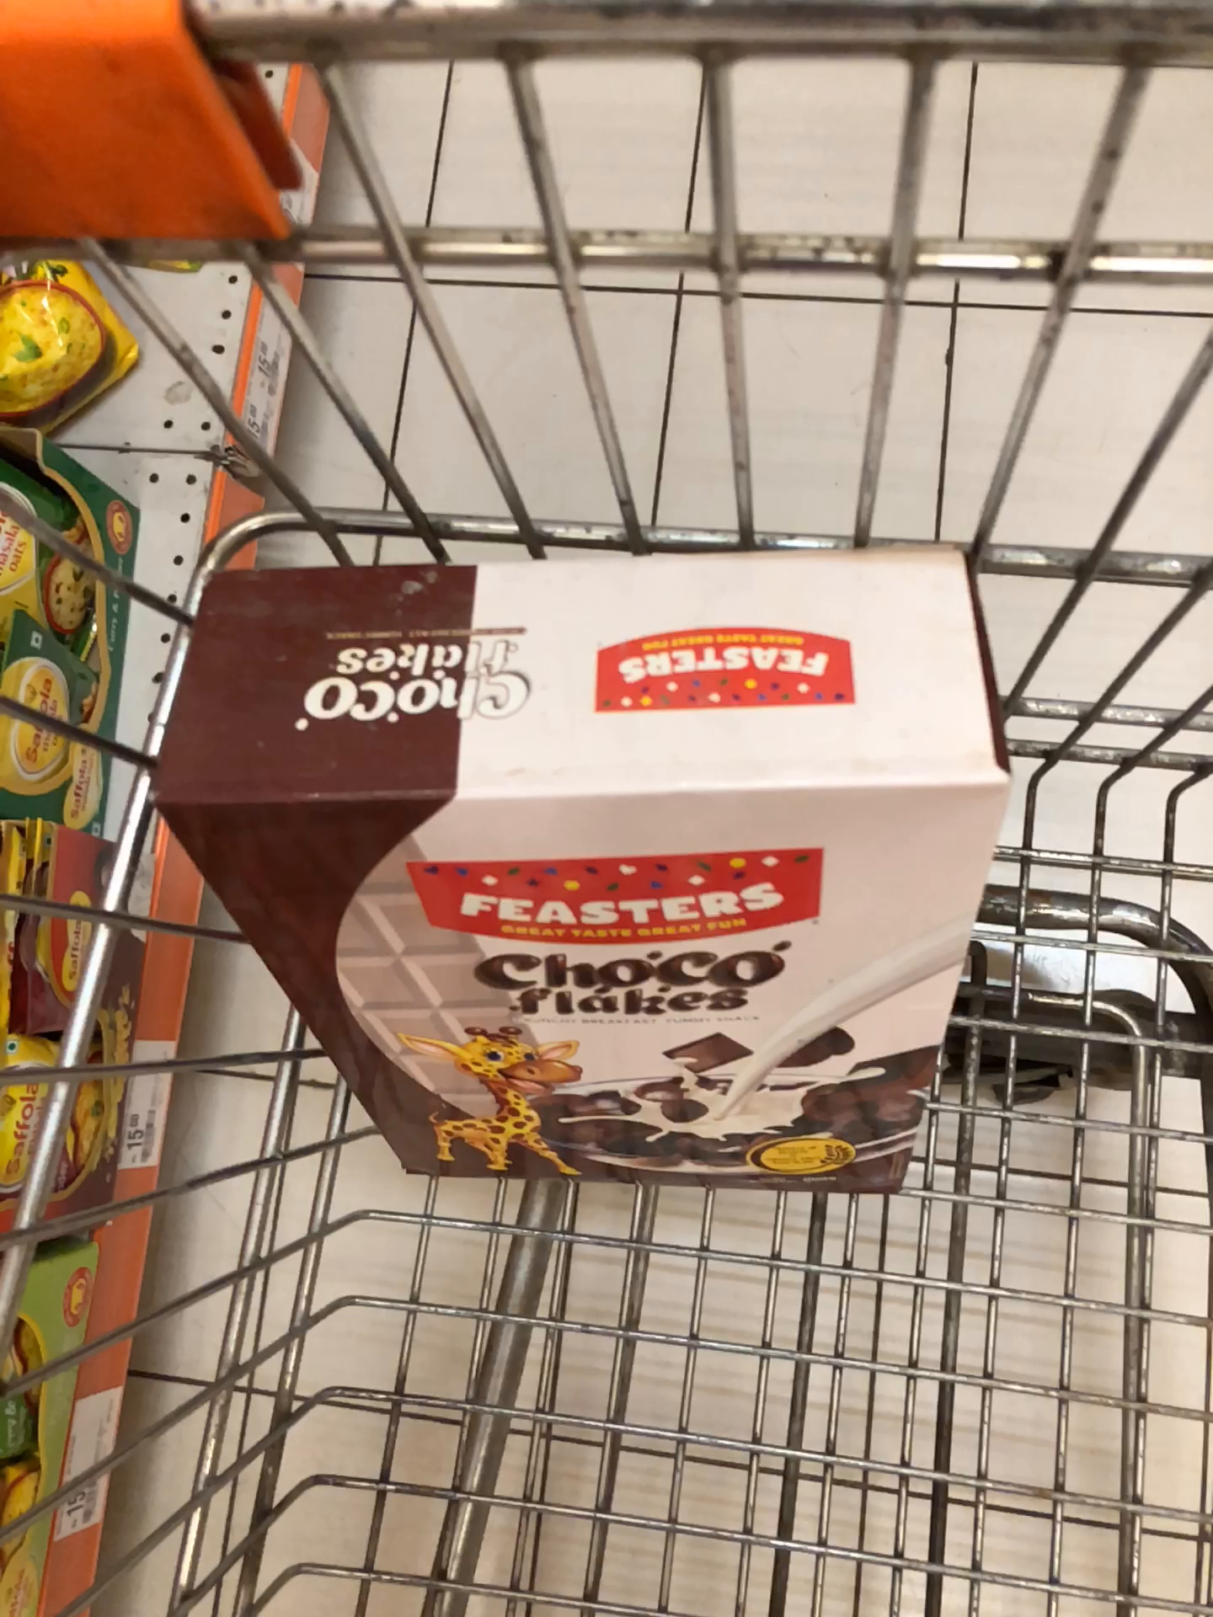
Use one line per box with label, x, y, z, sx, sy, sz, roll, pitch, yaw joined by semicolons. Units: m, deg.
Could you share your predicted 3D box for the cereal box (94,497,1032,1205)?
cereal box;0.002;0.033;0.358;0.170;0.239;0.070;-1;57;6
